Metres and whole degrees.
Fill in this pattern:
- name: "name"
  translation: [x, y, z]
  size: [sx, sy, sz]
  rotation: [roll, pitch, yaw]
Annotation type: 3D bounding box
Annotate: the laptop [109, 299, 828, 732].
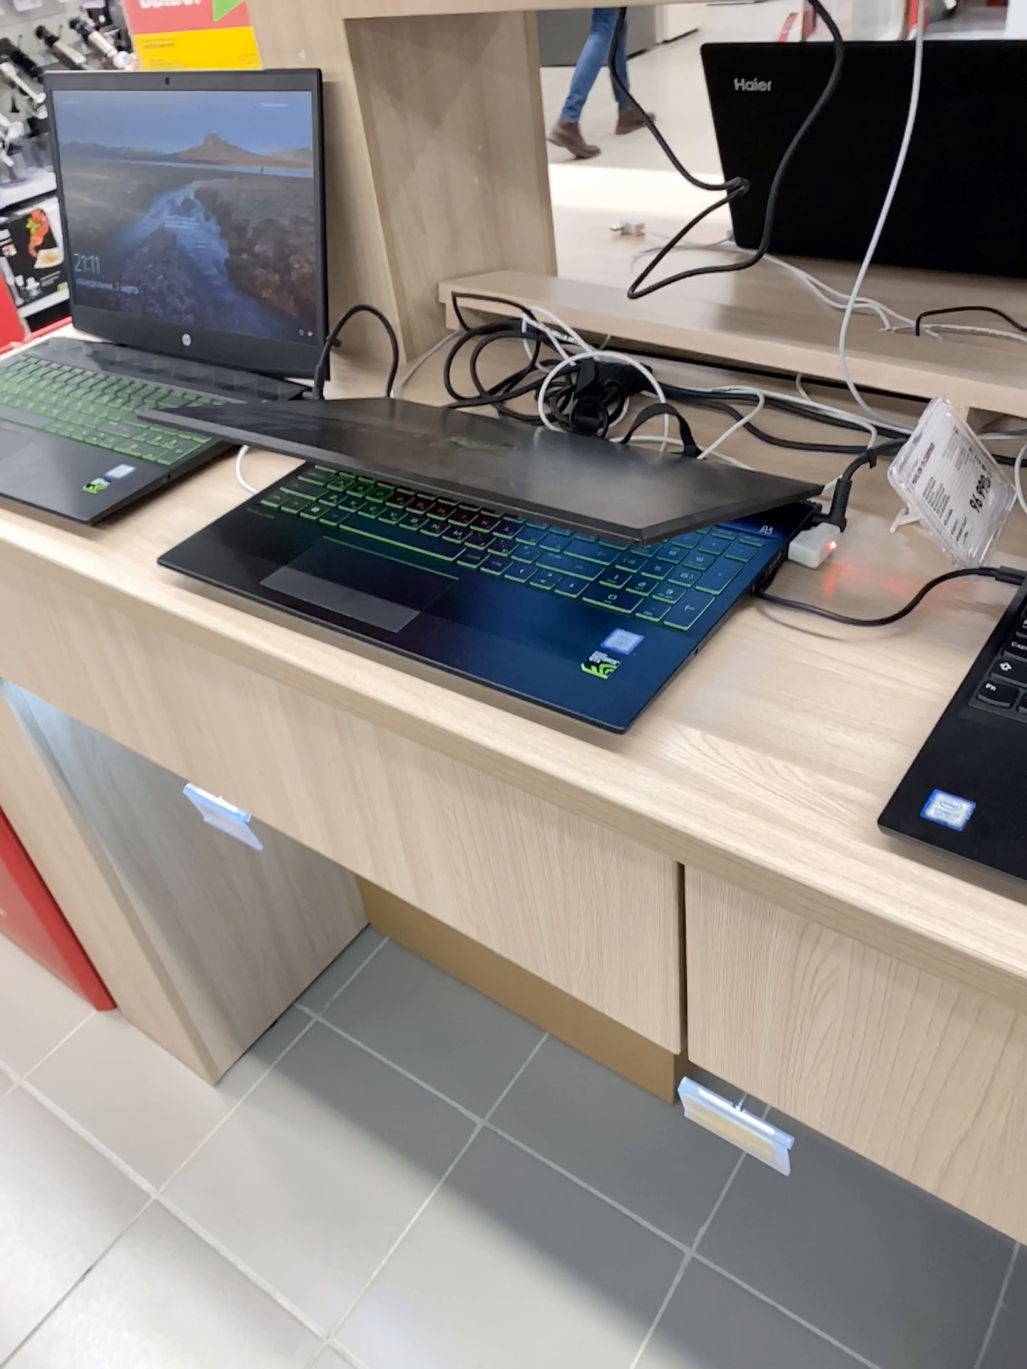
- name: "laptop"
  translation: [-0.027, -0.134, 0.659]
  size: [0.362, 0.092, 0.242]
  rotation: [20, 46, 29]
